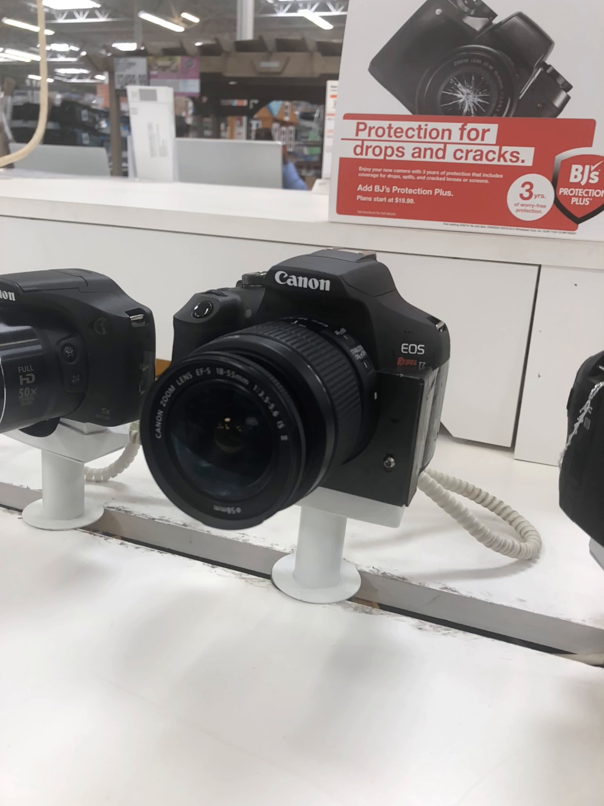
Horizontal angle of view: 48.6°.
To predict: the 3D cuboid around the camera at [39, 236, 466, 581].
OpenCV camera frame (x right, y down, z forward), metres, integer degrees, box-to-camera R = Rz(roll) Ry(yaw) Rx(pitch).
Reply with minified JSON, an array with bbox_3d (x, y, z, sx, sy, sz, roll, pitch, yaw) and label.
[{"bbox_3d":[-0.010,-0.014,0.285,0.130,0.092,0.132,9,20,18],"label":"camera"}]
